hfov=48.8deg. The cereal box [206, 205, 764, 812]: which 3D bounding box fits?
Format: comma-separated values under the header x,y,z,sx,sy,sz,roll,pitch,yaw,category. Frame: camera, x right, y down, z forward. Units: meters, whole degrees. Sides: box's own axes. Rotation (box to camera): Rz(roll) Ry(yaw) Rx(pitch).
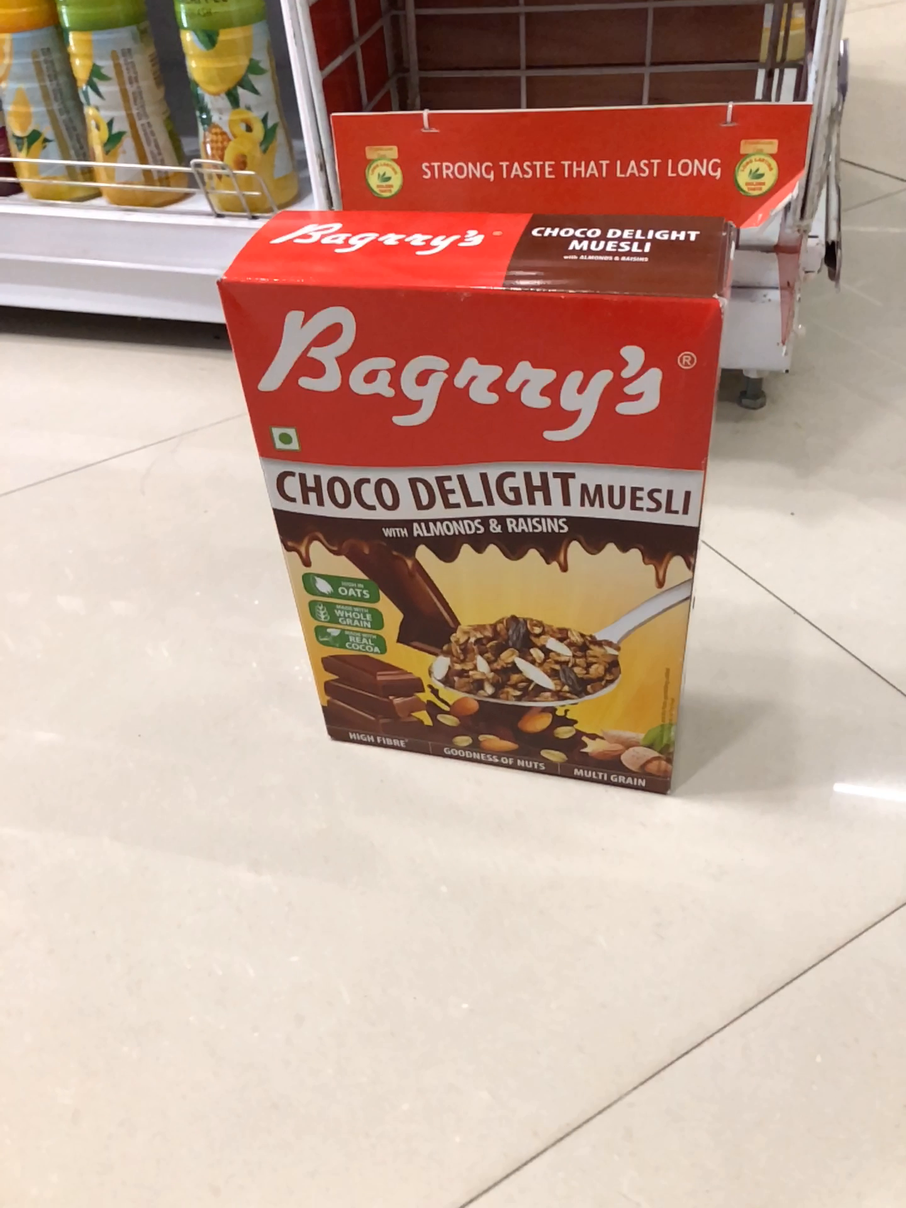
x,y,z,sx,sy,sz,roll,pitch,yaw,category
0.021,-0.031,0.445,0.190,0.258,0.070,7,43,14,cereal box
